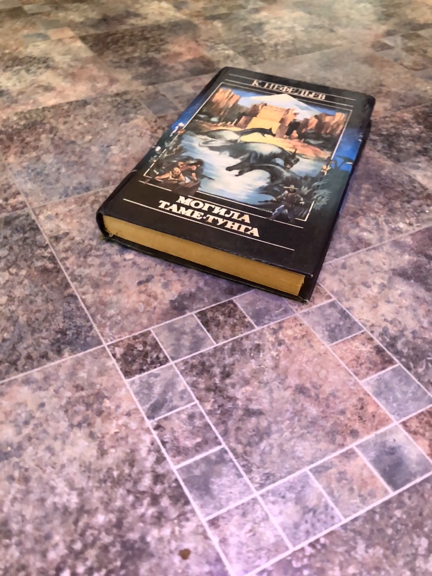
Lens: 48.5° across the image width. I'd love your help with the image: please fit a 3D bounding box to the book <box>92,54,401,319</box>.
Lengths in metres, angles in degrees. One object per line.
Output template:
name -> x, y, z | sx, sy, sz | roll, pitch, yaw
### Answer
book -> 0.034, -0.086, 0.321 | 0.139, 0.030, 0.202 | 19, 52, 13
